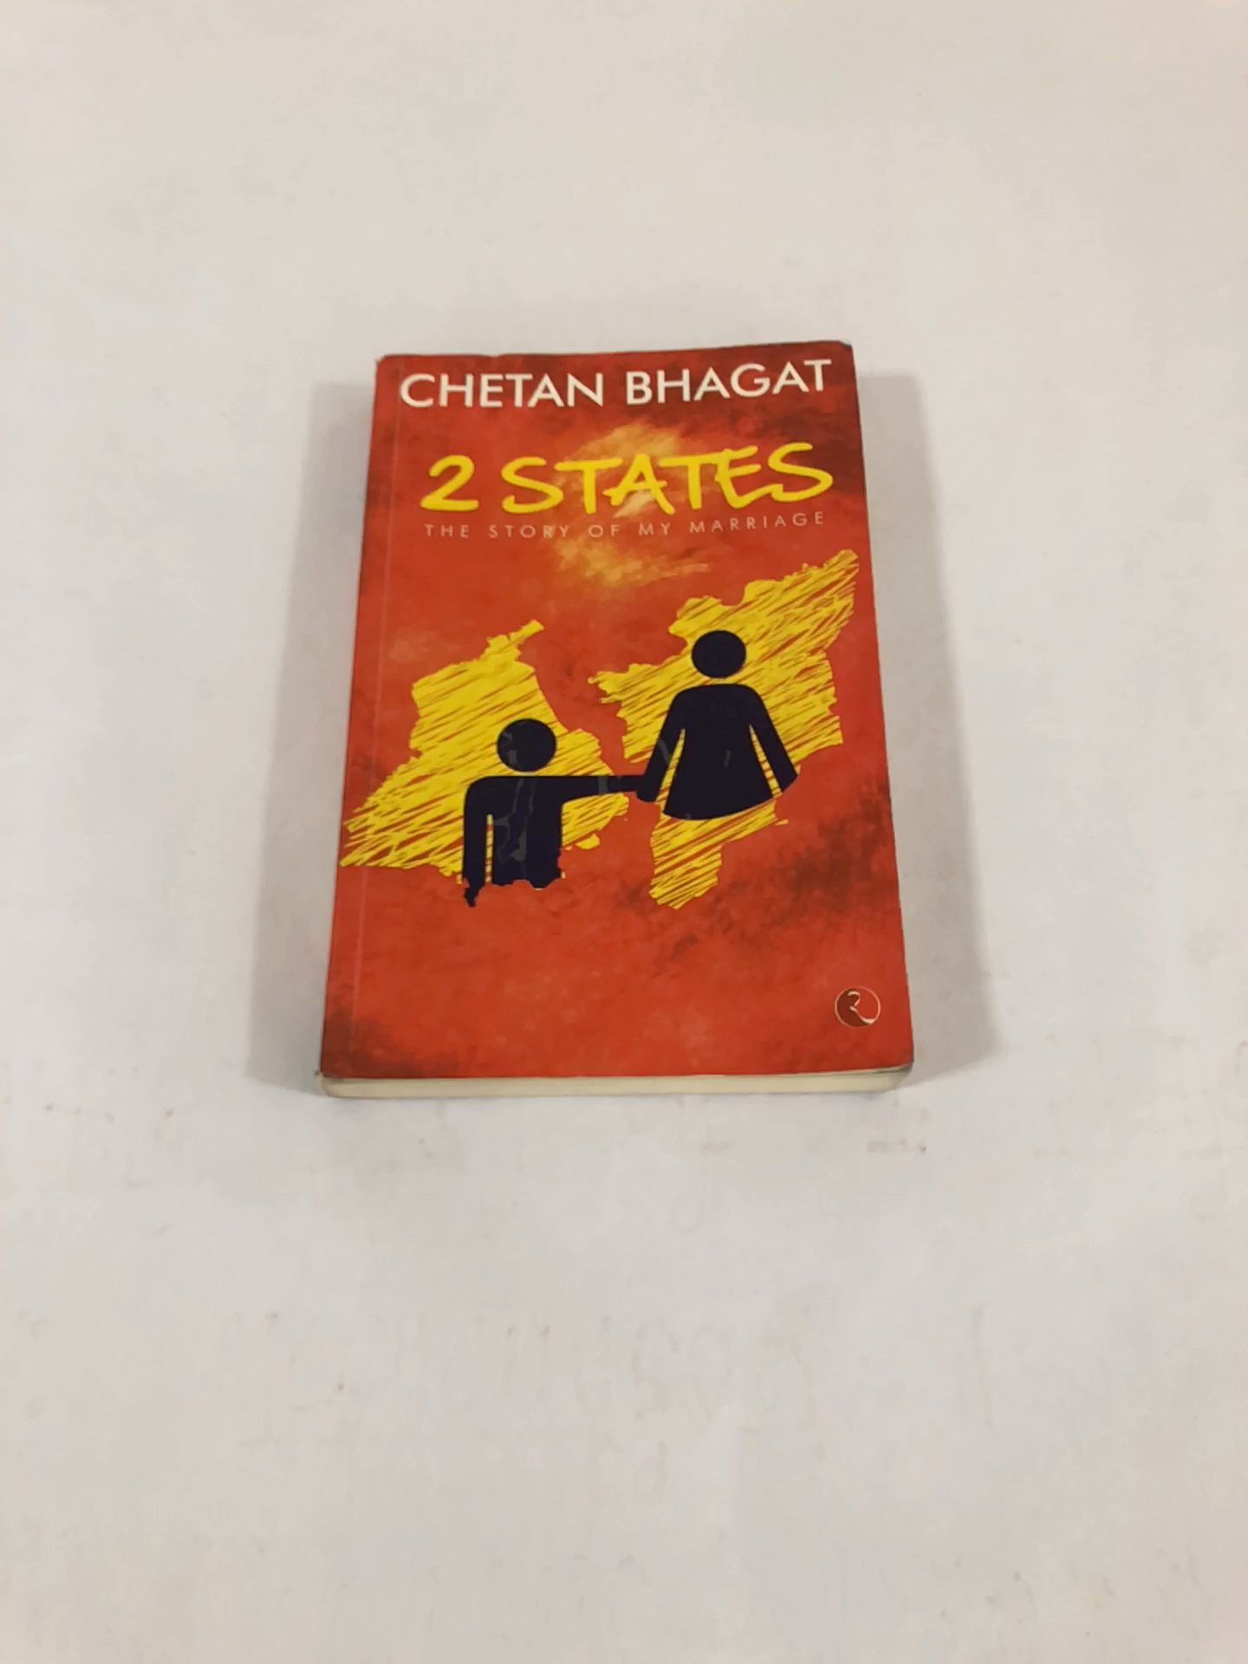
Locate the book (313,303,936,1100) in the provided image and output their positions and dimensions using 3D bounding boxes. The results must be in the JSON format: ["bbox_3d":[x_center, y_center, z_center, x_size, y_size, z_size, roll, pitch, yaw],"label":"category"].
[{"bbox_3d":[0.000,-0.036,0.329,0.122,0.040,0.190,0,68,0],"label":"book"}]
